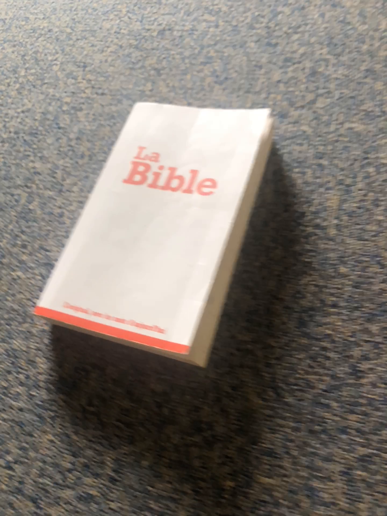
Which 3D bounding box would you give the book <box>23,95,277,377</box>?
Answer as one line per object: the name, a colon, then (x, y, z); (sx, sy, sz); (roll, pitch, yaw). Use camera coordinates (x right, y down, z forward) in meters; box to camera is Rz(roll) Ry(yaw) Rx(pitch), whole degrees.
book: (-0.024, -0.031, 0.346); (0.133, 0.042, 0.211); (11, 68, 18)
